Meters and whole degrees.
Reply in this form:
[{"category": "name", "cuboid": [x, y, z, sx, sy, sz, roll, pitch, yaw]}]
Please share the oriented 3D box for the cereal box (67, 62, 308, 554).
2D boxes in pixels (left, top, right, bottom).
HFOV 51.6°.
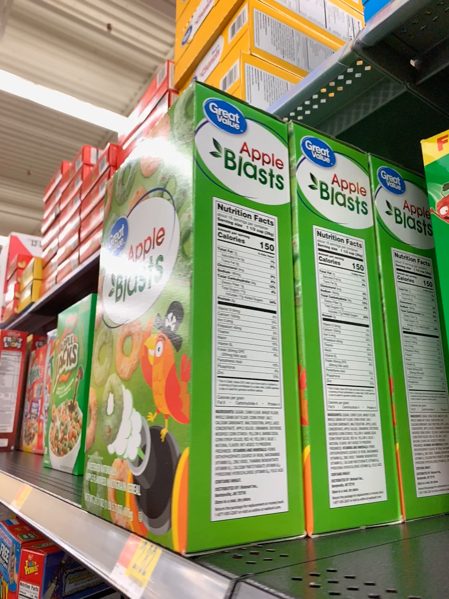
[{"category": "cereal box", "cuboid": [-0.041, 0.010, 0.409, 0.100, 0.331, 0.200, 11, -19, -33]}]
